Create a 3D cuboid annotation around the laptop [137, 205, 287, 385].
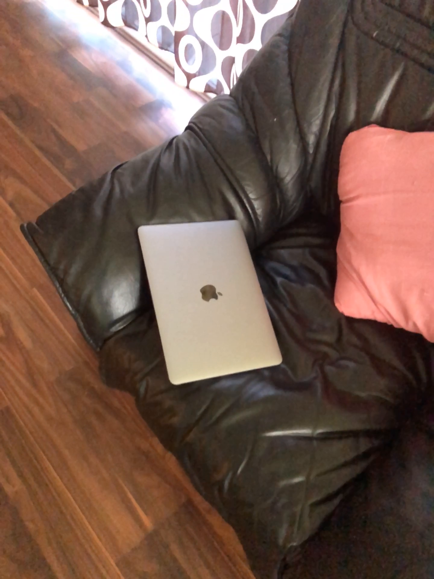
[{"bbox_3d":[-0.010,-0.004,0.757,0.185,0.036,0.265,-6,67,-22],"label":"laptop"}]
